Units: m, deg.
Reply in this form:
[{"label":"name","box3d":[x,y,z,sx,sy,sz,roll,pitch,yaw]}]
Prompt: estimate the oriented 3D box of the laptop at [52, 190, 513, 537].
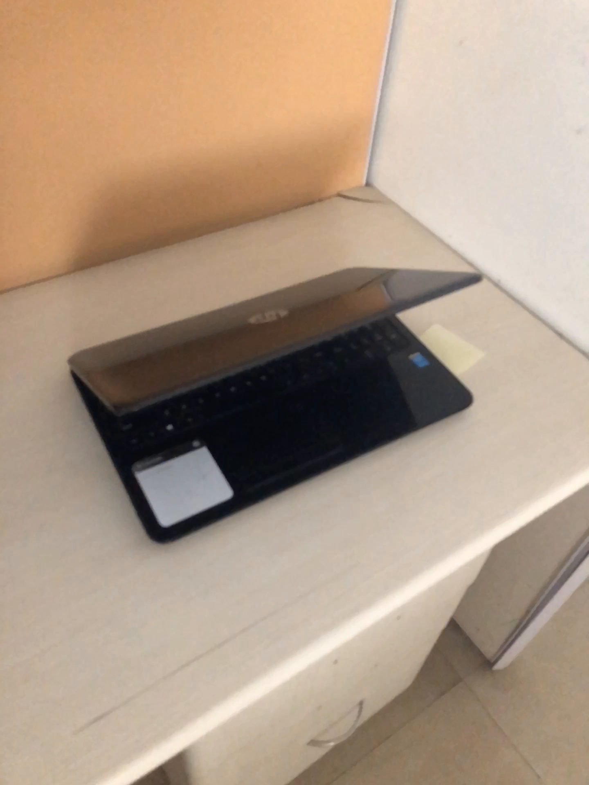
[{"label":"laptop","box3d":[-0.015,-0.051,0.633,0.353,0.131,0.224,-21,52,-22]}]
